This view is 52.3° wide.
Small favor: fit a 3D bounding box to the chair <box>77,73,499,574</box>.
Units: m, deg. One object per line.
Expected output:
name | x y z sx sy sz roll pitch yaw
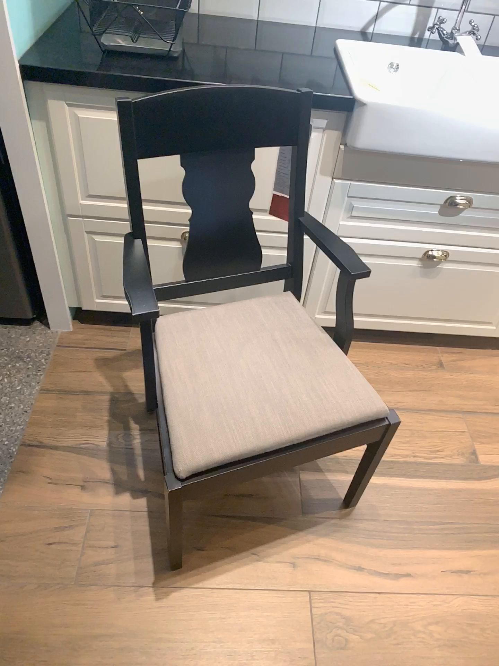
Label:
chair | 0.008 -0.006 1.162 0.570 0.887 0.592 -12 48 -19
